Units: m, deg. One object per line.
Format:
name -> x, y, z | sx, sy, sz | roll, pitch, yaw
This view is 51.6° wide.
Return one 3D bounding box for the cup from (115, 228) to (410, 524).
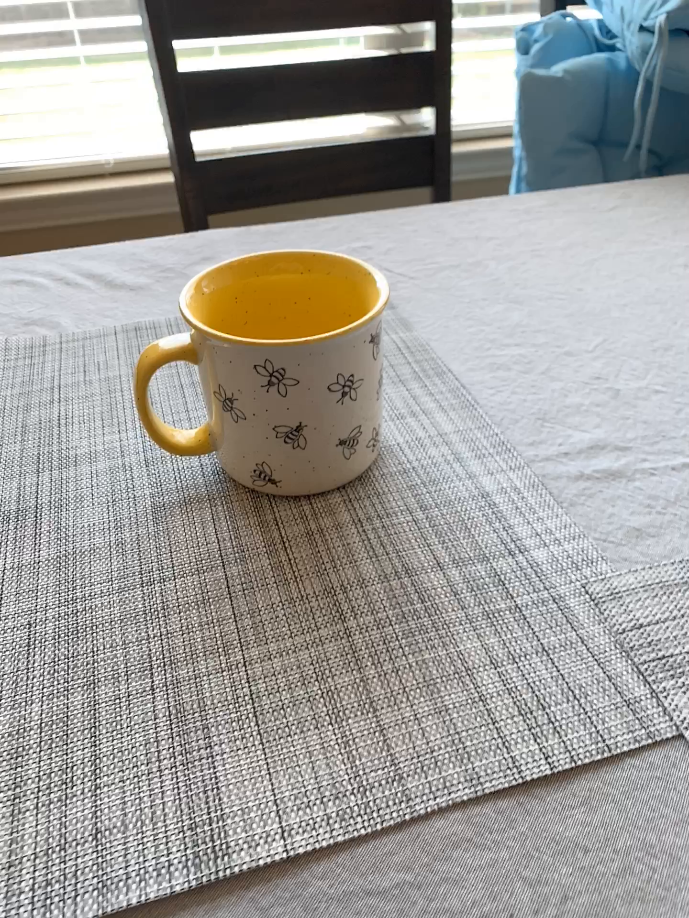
cup -> -0.048, -0.052, 0.403 | 0.136, 0.107, 0.114 | -9, 38, -10
